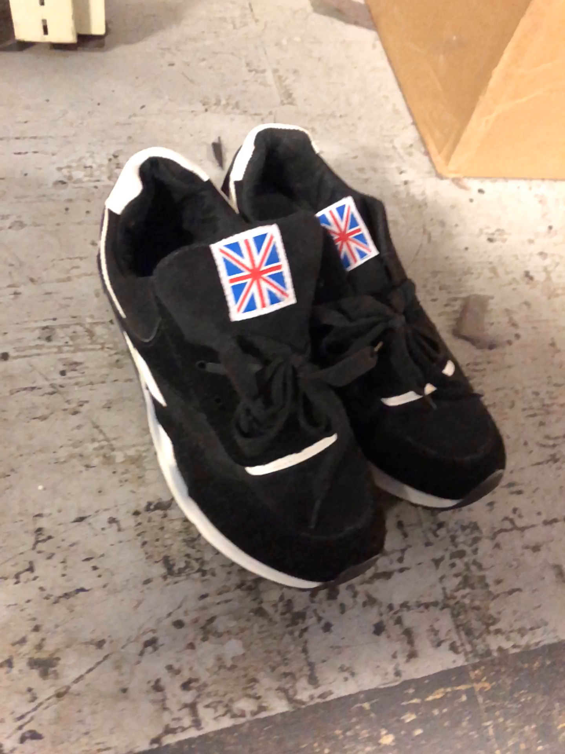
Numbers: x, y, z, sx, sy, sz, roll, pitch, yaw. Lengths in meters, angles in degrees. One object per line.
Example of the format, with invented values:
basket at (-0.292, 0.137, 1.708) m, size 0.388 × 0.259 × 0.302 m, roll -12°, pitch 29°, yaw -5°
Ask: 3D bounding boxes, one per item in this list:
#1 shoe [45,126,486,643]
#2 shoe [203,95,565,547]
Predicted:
shoe at (-0.026, -0.001, 0.335) m, size 0.100 × 0.119 × 0.231 m, roll -24°, pitch 67°, yaw -24°
shoe at (0.061, -0.042, 0.387) m, size 0.110 × 0.109 × 0.241 m, roll -24°, pitch 67°, yaw -24°
